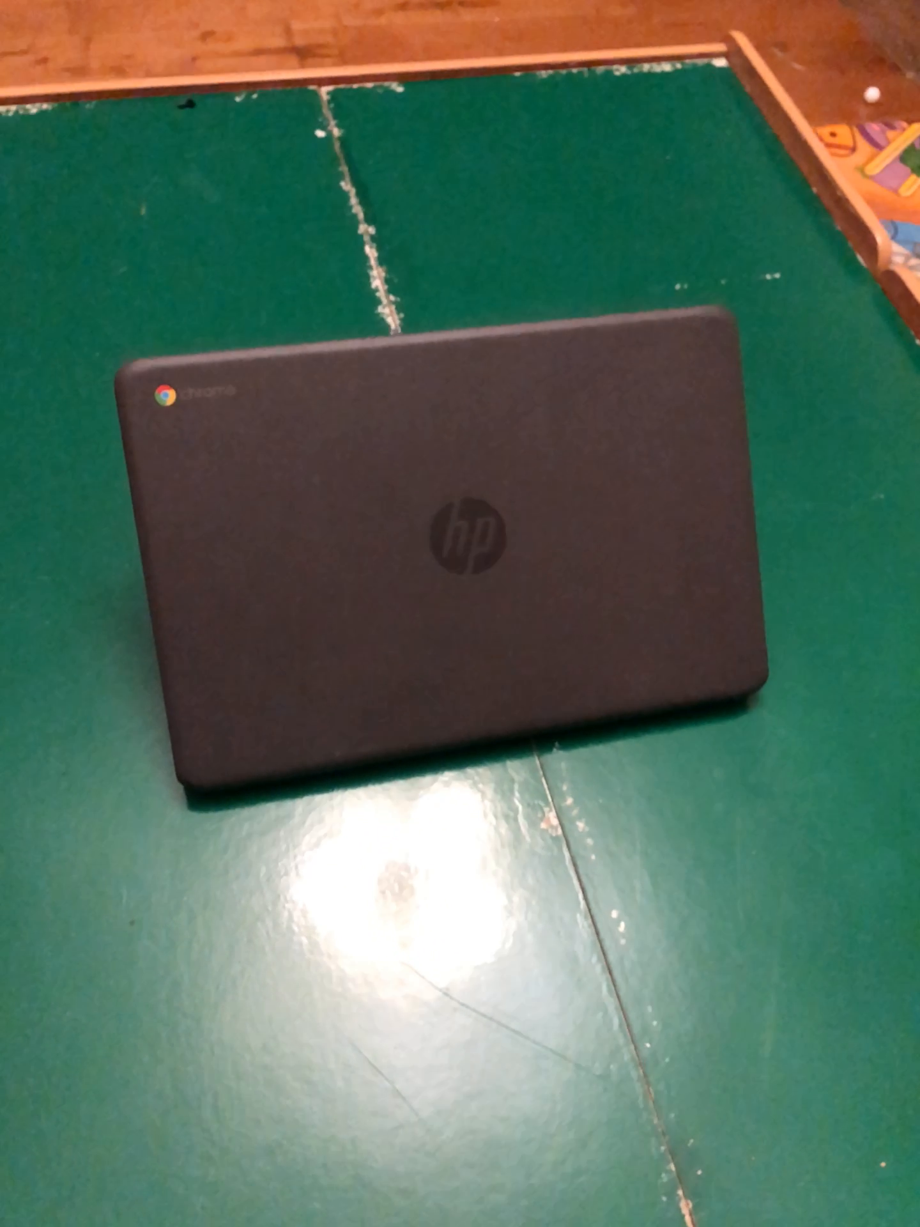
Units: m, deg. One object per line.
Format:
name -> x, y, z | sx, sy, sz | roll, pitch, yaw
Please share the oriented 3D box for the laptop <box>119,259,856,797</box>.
laptop -> -0.003, -0.052, 0.545 | 0.316, 0.144, 0.209 | -8, 57, -10
